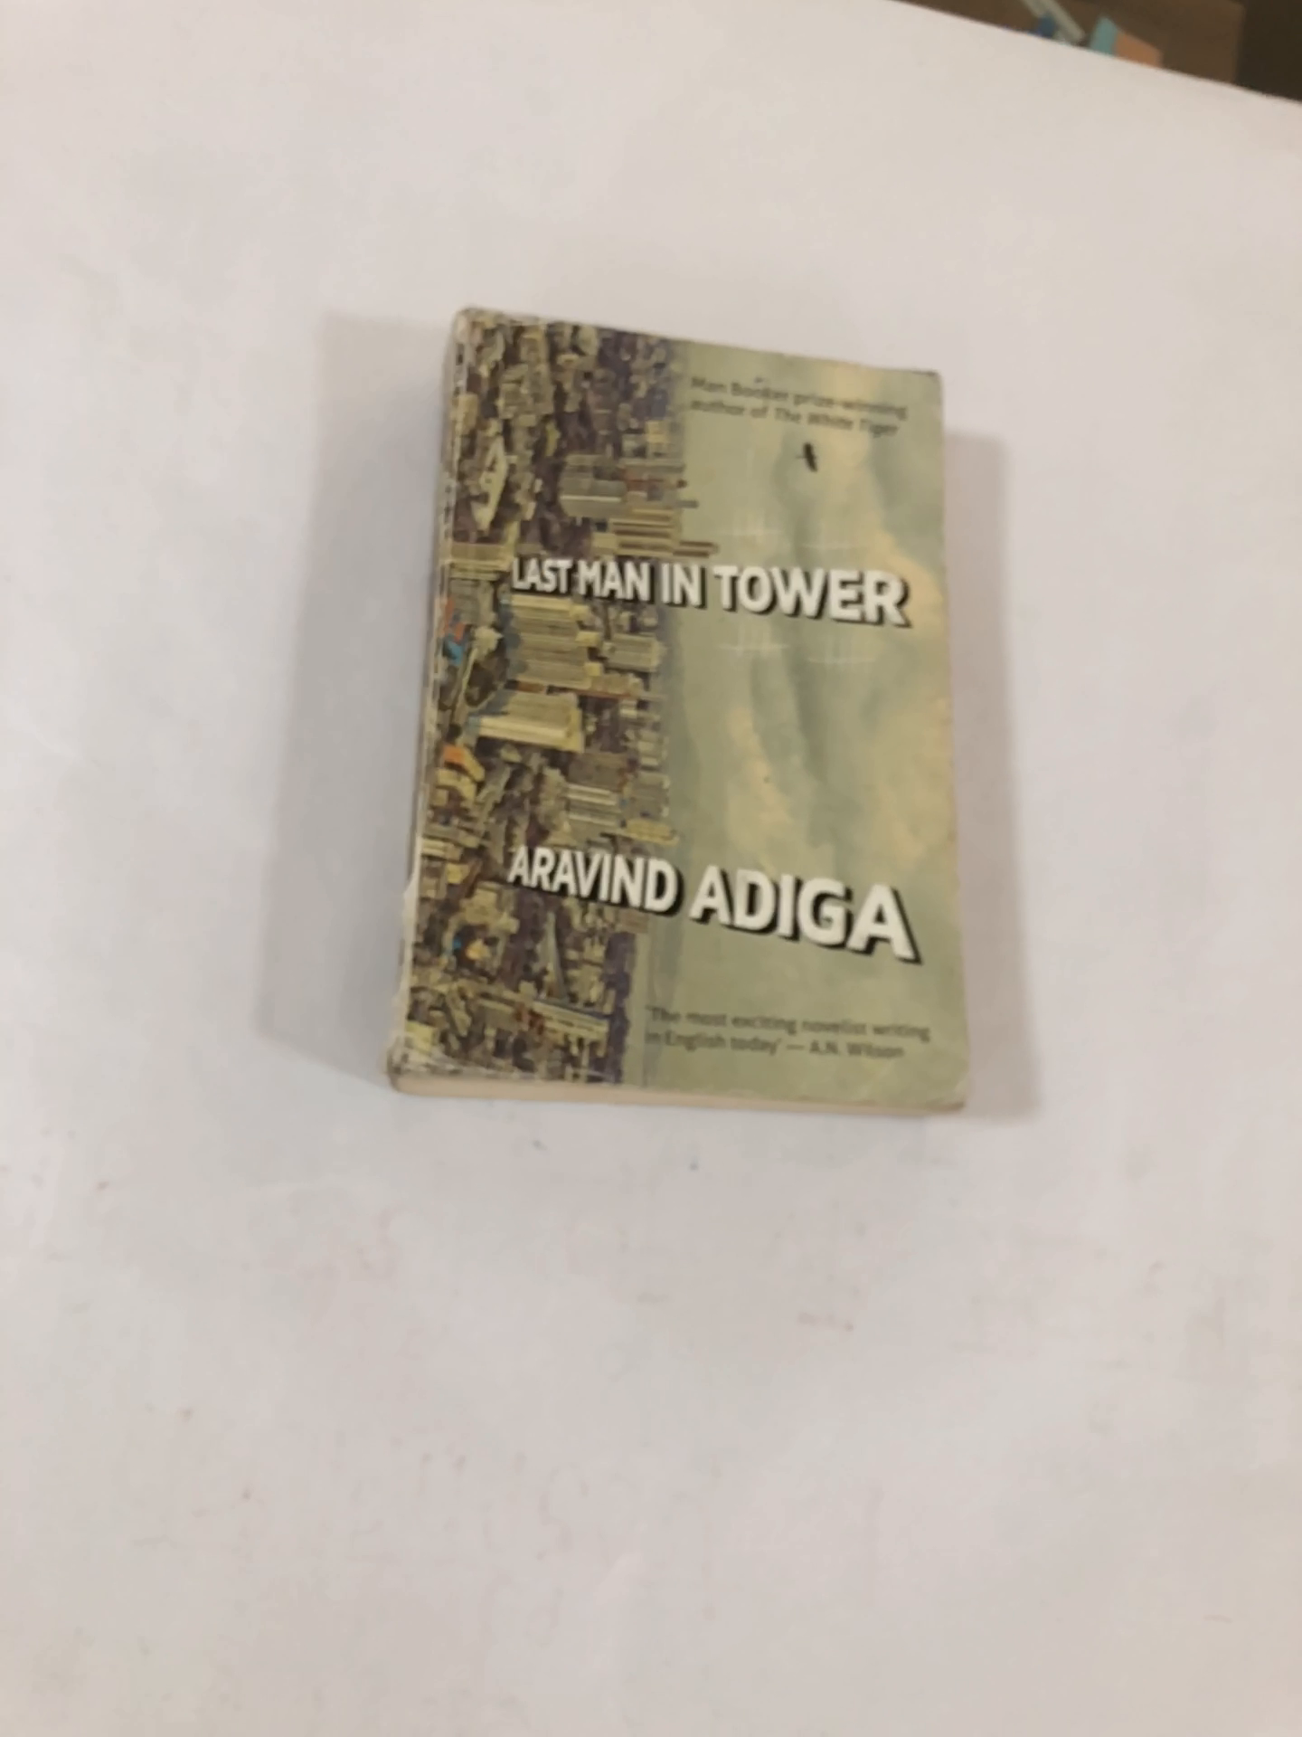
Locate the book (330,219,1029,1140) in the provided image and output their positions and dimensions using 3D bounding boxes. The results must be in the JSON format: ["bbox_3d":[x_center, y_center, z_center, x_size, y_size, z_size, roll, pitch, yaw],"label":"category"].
[{"bbox_3d":[0.008,-0.049,0.359,0.150,0.030,0.220,4,70,-10],"label":"book"}]
